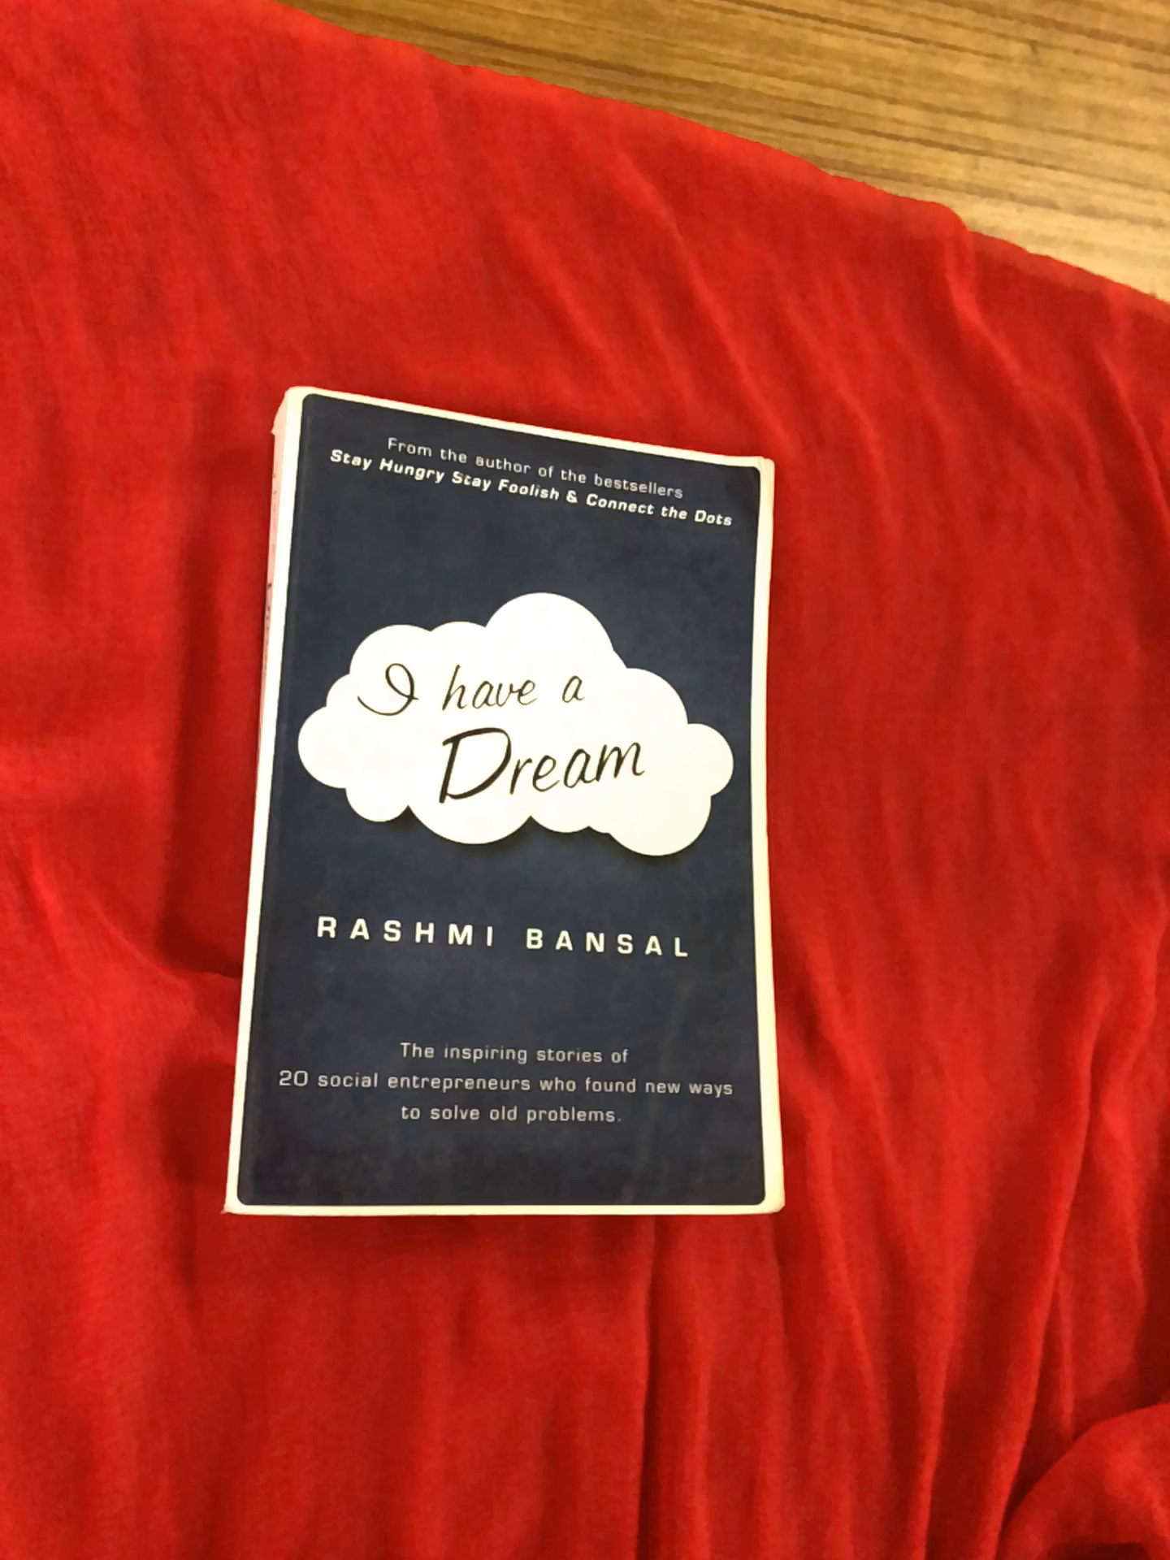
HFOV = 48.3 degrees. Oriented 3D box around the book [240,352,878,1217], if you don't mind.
[{"bbox_3d":[-0.003,0.004,0.316,0.140,0.040,0.190,5,78,-14],"label":"book"}]
